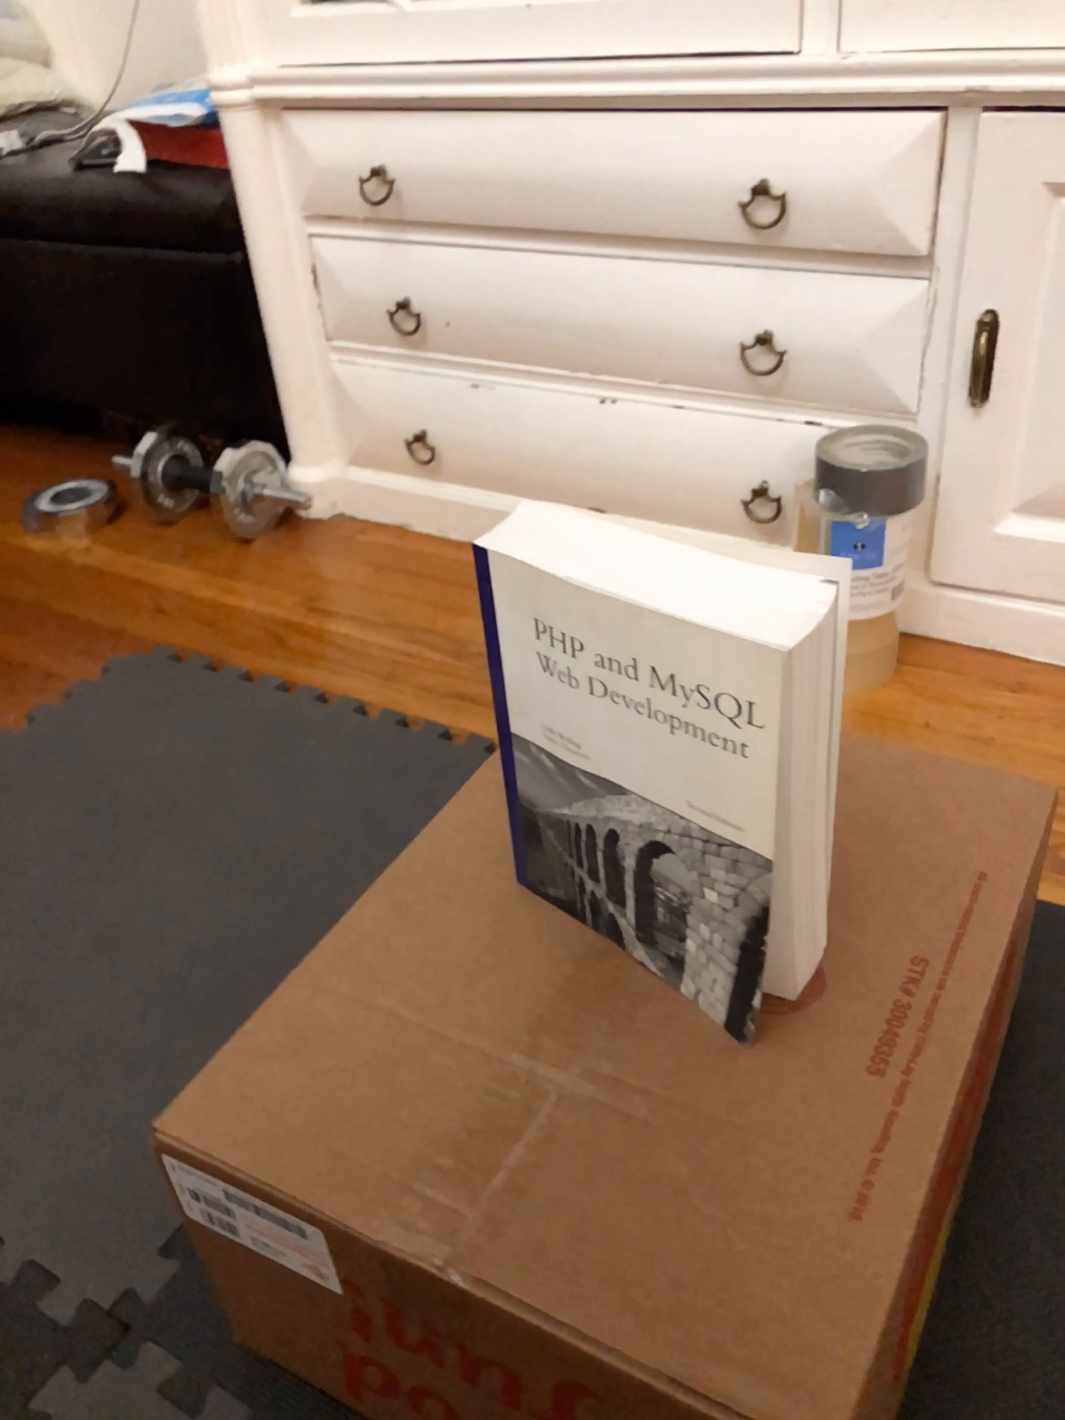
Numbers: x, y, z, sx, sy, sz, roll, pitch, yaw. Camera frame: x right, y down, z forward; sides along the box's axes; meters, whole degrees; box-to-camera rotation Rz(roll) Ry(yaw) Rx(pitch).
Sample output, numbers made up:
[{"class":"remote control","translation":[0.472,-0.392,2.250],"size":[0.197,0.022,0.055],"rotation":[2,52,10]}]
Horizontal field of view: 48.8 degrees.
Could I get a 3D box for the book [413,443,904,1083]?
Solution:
[{"class":"book","translation":[0.062,0.024,0.588],"size":[0.201,0.258,0.090],"rotation":[24,46,37]}]
